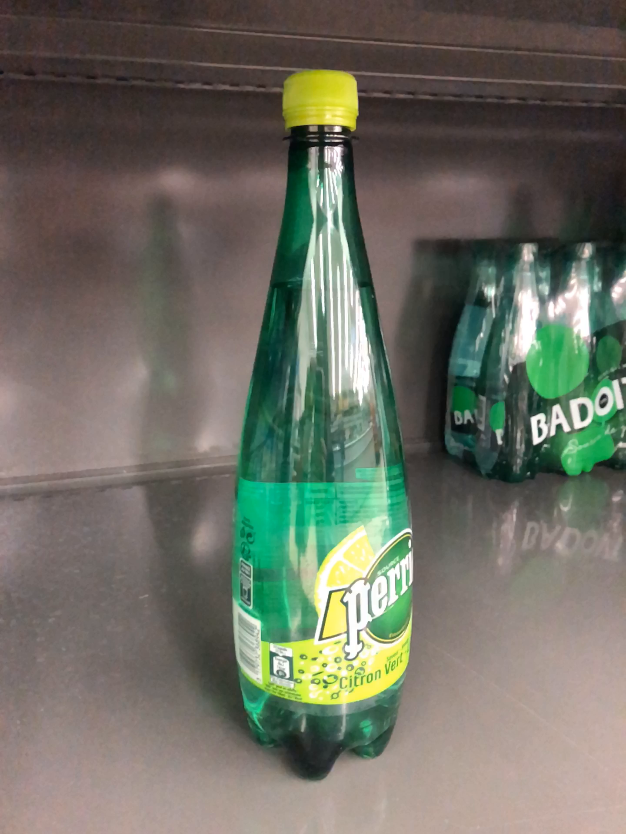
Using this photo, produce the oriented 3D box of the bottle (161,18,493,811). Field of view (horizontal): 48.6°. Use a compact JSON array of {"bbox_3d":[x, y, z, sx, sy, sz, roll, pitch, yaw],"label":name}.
[{"bbox_3d":[0.007,0.003,0.318,0.100,0.299,0.090,-14,20,-42],"label":"bottle"}]
